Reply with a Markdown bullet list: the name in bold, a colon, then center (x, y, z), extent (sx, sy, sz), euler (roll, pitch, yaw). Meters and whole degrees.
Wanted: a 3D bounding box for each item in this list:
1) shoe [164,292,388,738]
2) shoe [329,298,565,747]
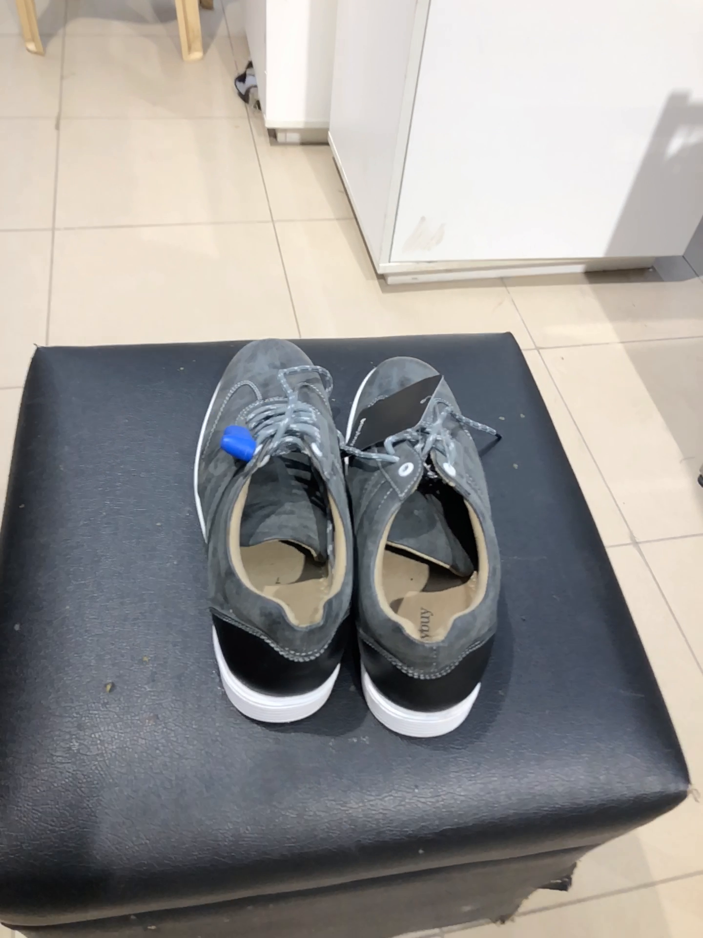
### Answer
- **shoe**: center (-0.050, 0.016, 0.467), extent (0.100, 0.106, 0.250), euler (-1, 51, -8)
- **shoe**: center (0.045, 0.022, 0.469), extent (0.100, 0.106, 0.250), euler (4, 51, -3)
